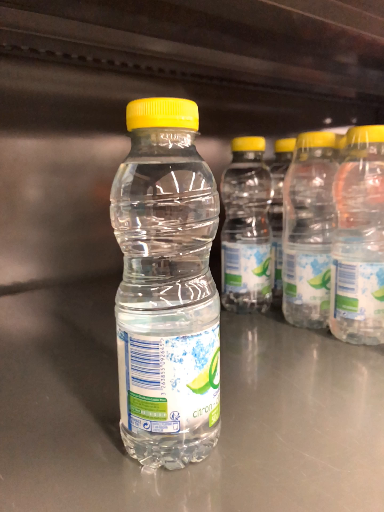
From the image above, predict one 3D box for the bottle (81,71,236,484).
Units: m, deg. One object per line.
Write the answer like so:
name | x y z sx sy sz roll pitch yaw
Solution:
bottle | -0.013 0.012 0.256 0.060 0.210 0.070 1 10 19
